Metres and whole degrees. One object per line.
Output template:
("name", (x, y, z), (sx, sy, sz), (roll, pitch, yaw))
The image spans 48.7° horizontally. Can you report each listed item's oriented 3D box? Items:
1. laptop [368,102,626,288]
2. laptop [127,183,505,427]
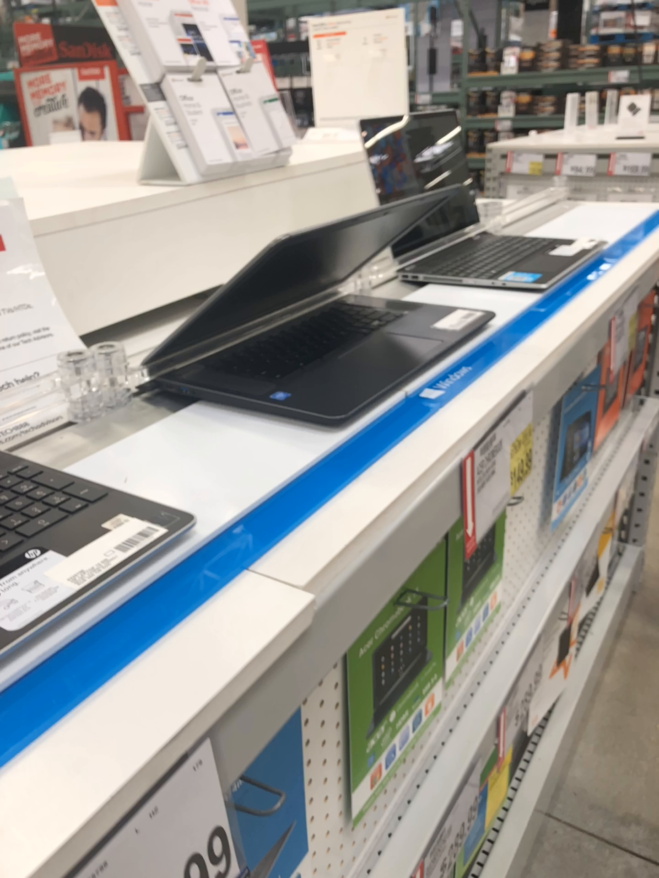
("laptop", (0.266, -0.405, 1.158), (0.291, 0.208, 0.318), (16, 33, 34))
("laptop", (0.011, -0.168, 0.767), (0.219, 0.136, 0.366), (15, 30, 29))
